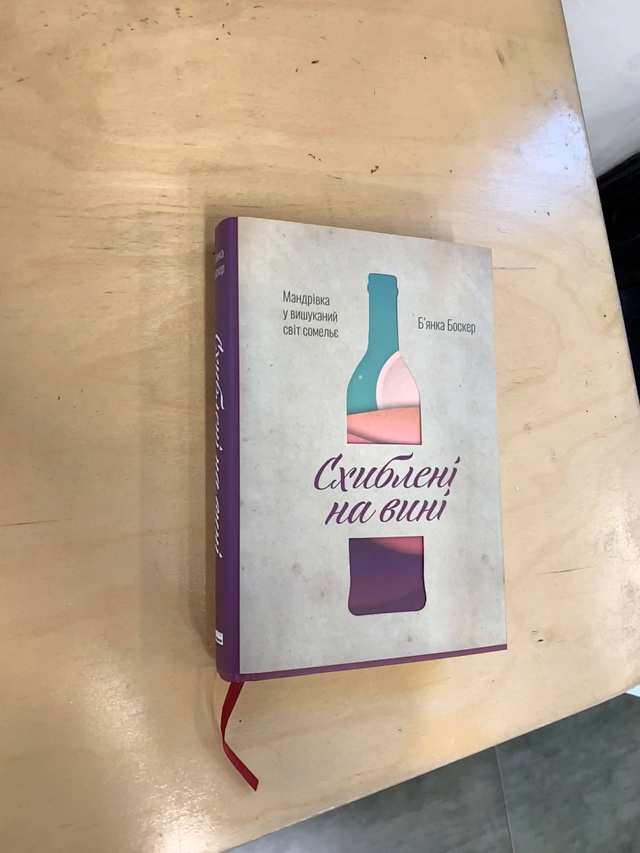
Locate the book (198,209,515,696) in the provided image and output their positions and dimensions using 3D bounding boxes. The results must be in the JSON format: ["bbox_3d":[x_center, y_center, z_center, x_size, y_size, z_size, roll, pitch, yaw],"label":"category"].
[{"bbox_3d":[0.017,0.011,0.338,0.150,0.050,0.214,1,84,-21],"label":"book"}]
